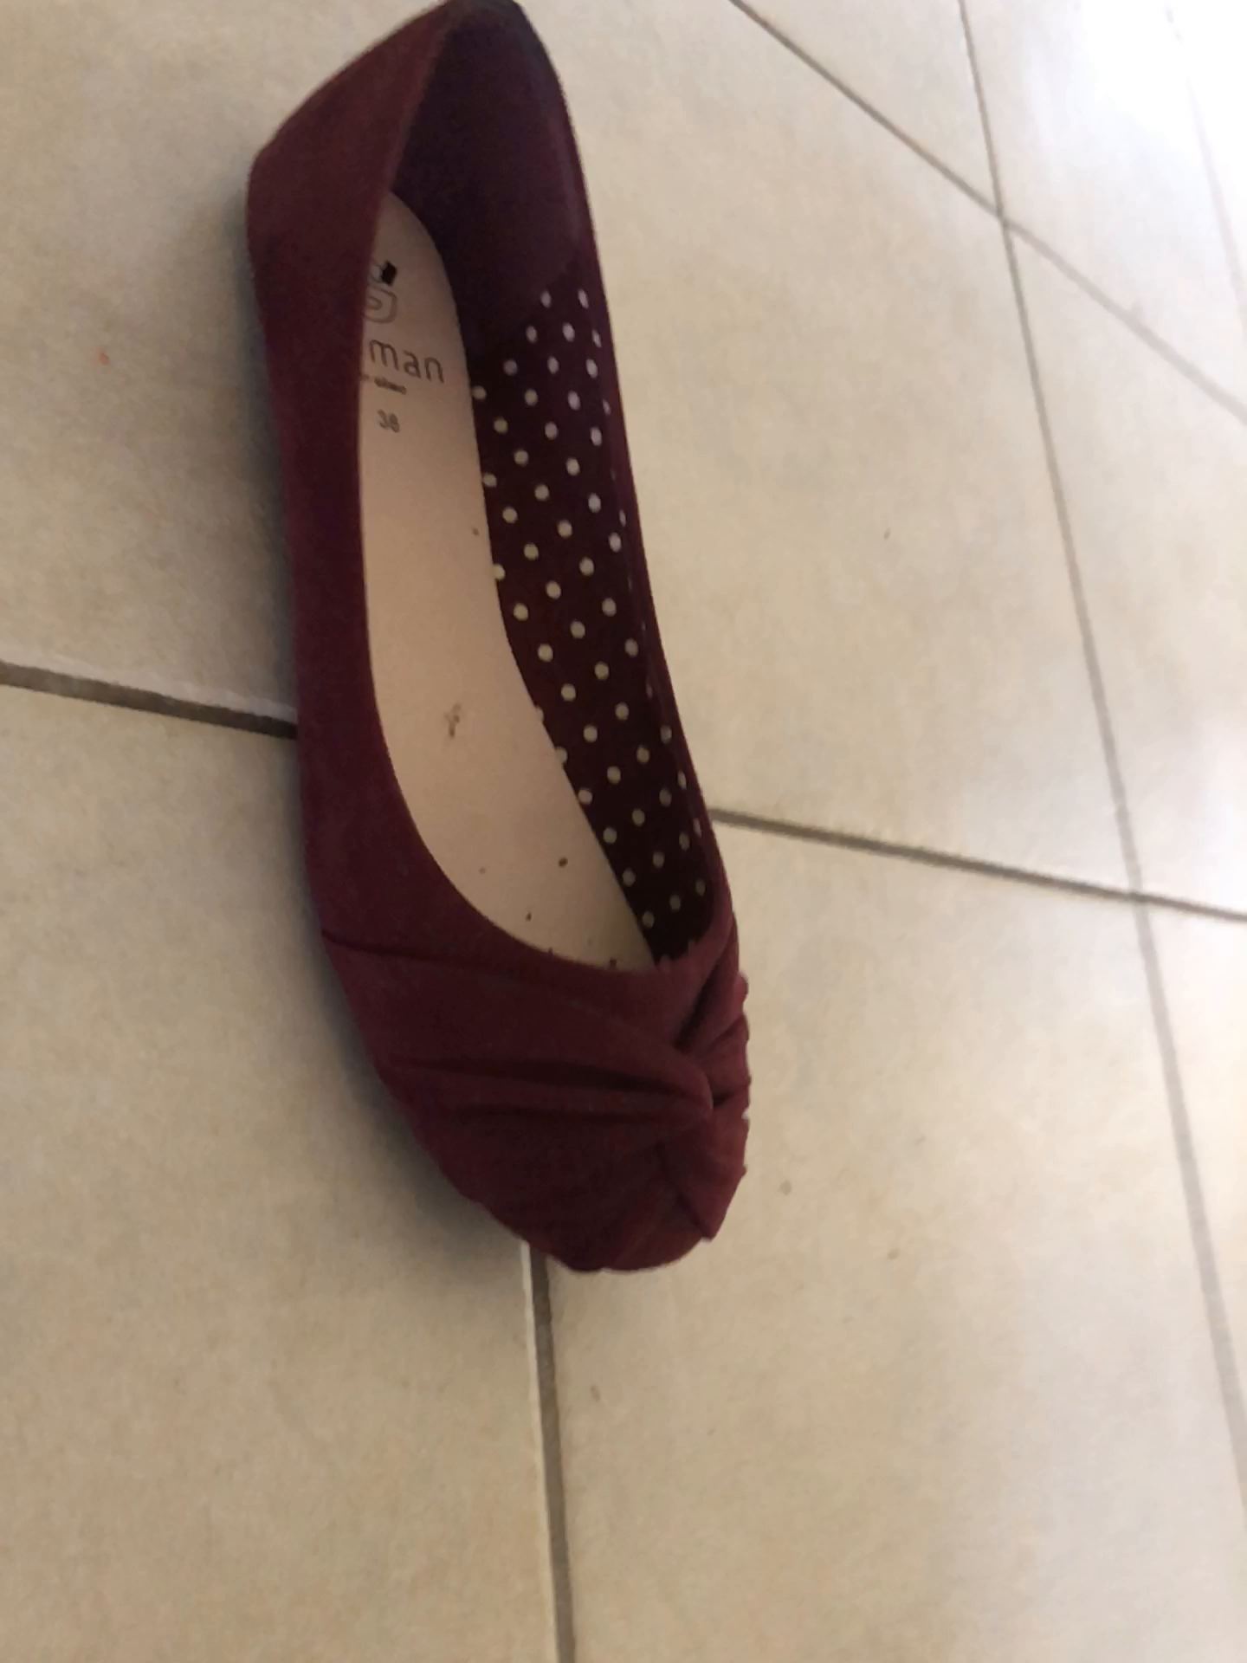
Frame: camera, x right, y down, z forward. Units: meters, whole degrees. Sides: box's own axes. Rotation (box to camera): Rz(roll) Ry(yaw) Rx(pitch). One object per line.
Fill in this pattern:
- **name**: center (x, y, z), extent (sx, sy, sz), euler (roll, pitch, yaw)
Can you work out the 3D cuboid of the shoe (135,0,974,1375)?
- **shoe**: center (-0.019, -0.034, 0.277), extent (0.082, 0.079, 0.251), euler (-6, 79, -43)
